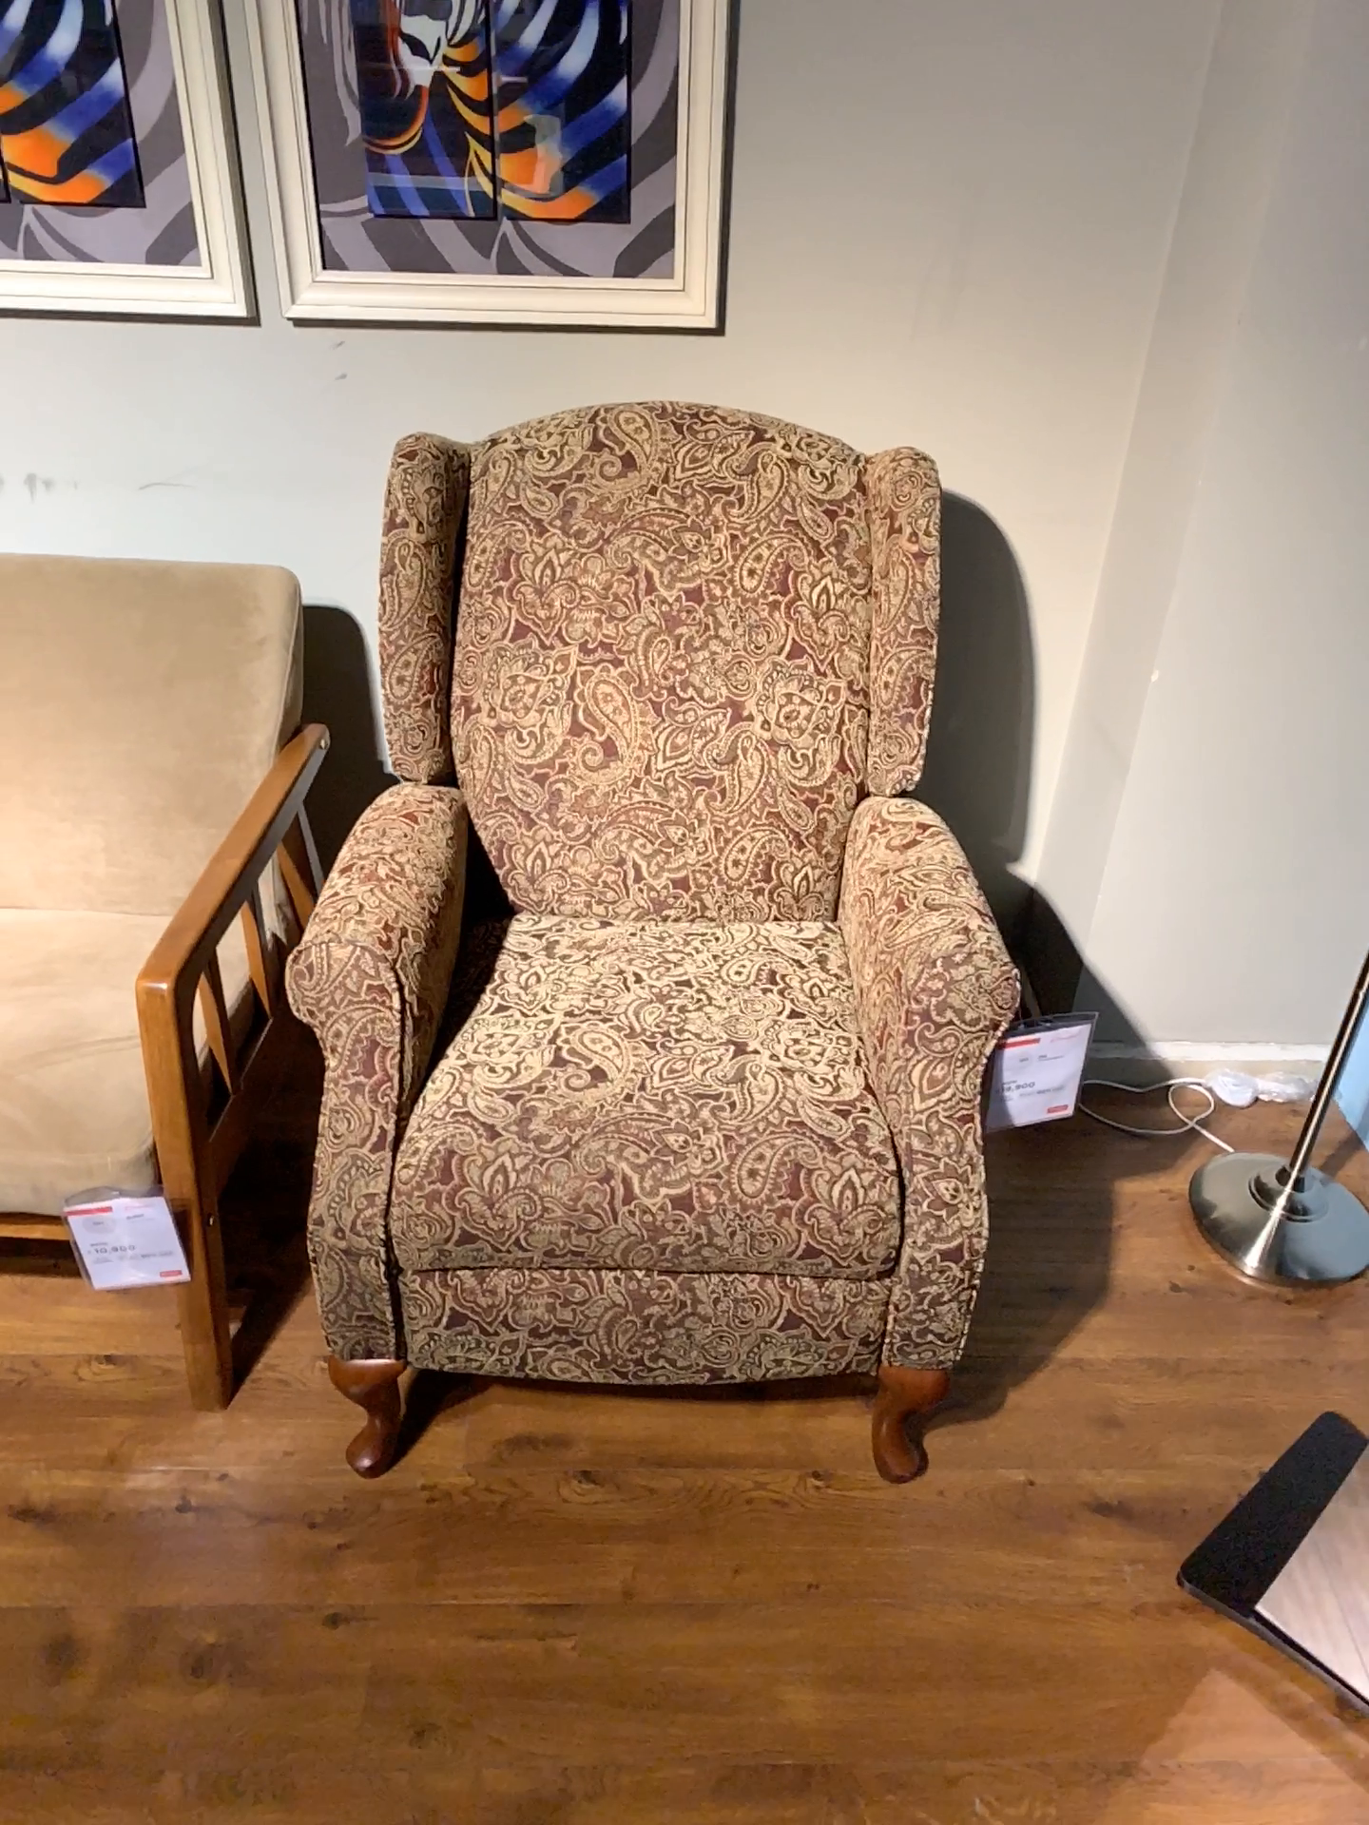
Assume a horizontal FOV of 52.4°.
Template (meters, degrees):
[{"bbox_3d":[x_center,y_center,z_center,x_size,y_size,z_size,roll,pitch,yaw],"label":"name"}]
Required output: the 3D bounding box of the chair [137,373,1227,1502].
[{"bbox_3d":[-0.021,0.006,1.535,0.750,0.956,0.763,2,33,-2],"label":"chair"}]
